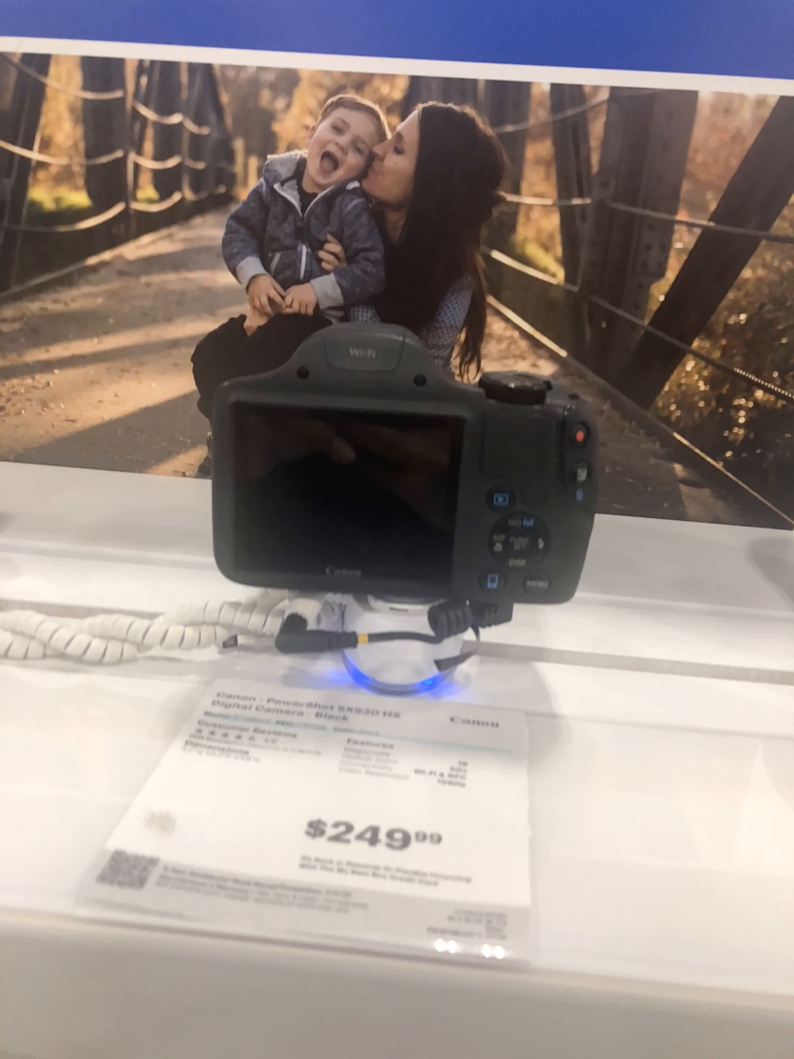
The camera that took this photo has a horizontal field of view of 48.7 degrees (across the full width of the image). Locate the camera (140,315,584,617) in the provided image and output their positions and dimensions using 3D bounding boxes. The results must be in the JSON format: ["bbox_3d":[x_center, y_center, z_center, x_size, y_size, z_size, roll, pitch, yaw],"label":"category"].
[{"bbox_3d":[-0.011,-0.029,0.300,0.120,0.070,0.110,3,19,-1],"label":"camera"}]
